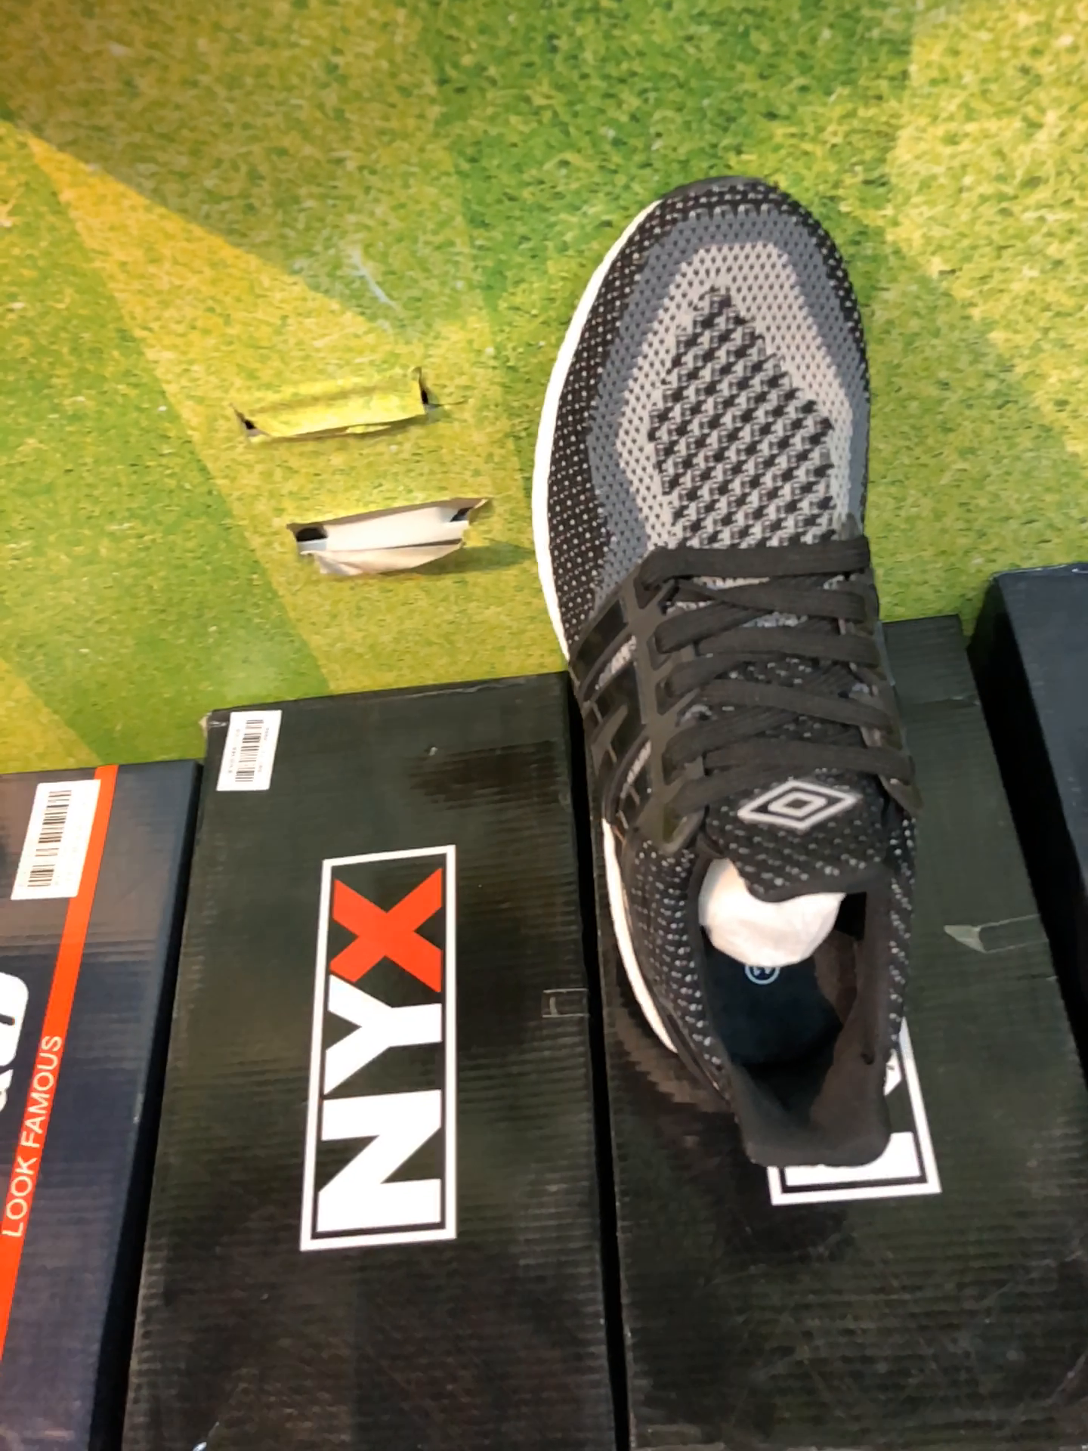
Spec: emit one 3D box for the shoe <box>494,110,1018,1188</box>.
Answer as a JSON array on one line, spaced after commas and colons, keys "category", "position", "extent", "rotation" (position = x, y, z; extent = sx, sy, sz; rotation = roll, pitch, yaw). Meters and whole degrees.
[{"category": "shoe", "position": [0.059, -0.022, 0.369], "extent": [0.111, 0.122, 0.268], "rotation": [-7, 100, -6]}]
